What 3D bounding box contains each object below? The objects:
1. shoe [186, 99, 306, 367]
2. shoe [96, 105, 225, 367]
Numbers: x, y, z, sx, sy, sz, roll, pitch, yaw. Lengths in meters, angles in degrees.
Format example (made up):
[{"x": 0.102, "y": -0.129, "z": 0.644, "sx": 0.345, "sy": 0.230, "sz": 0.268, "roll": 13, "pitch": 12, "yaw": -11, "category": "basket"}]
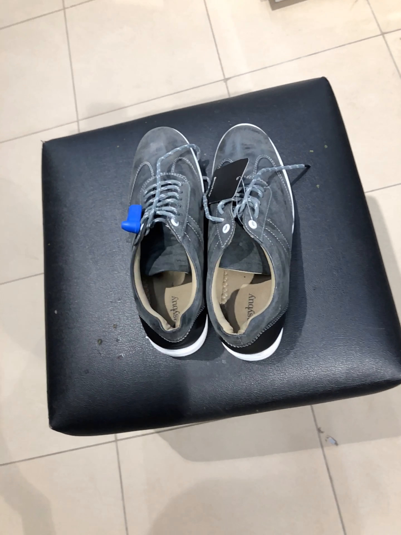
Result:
[{"x": 0.050, "y": -0.030, "z": 0.458, "sx": 0.100, "sy": 0.107, "sz": 0.249, "roll": -1, "pitch": 72, "yaw": 10, "category": "shoe"}, {"x": -0.043, "y": -0.029, "z": 0.478, "sx": 0.100, "sy": 0.107, "sz": 0.249, "roll": -8, "pitch": 71, "yaw": 8, "category": "shoe"}]
